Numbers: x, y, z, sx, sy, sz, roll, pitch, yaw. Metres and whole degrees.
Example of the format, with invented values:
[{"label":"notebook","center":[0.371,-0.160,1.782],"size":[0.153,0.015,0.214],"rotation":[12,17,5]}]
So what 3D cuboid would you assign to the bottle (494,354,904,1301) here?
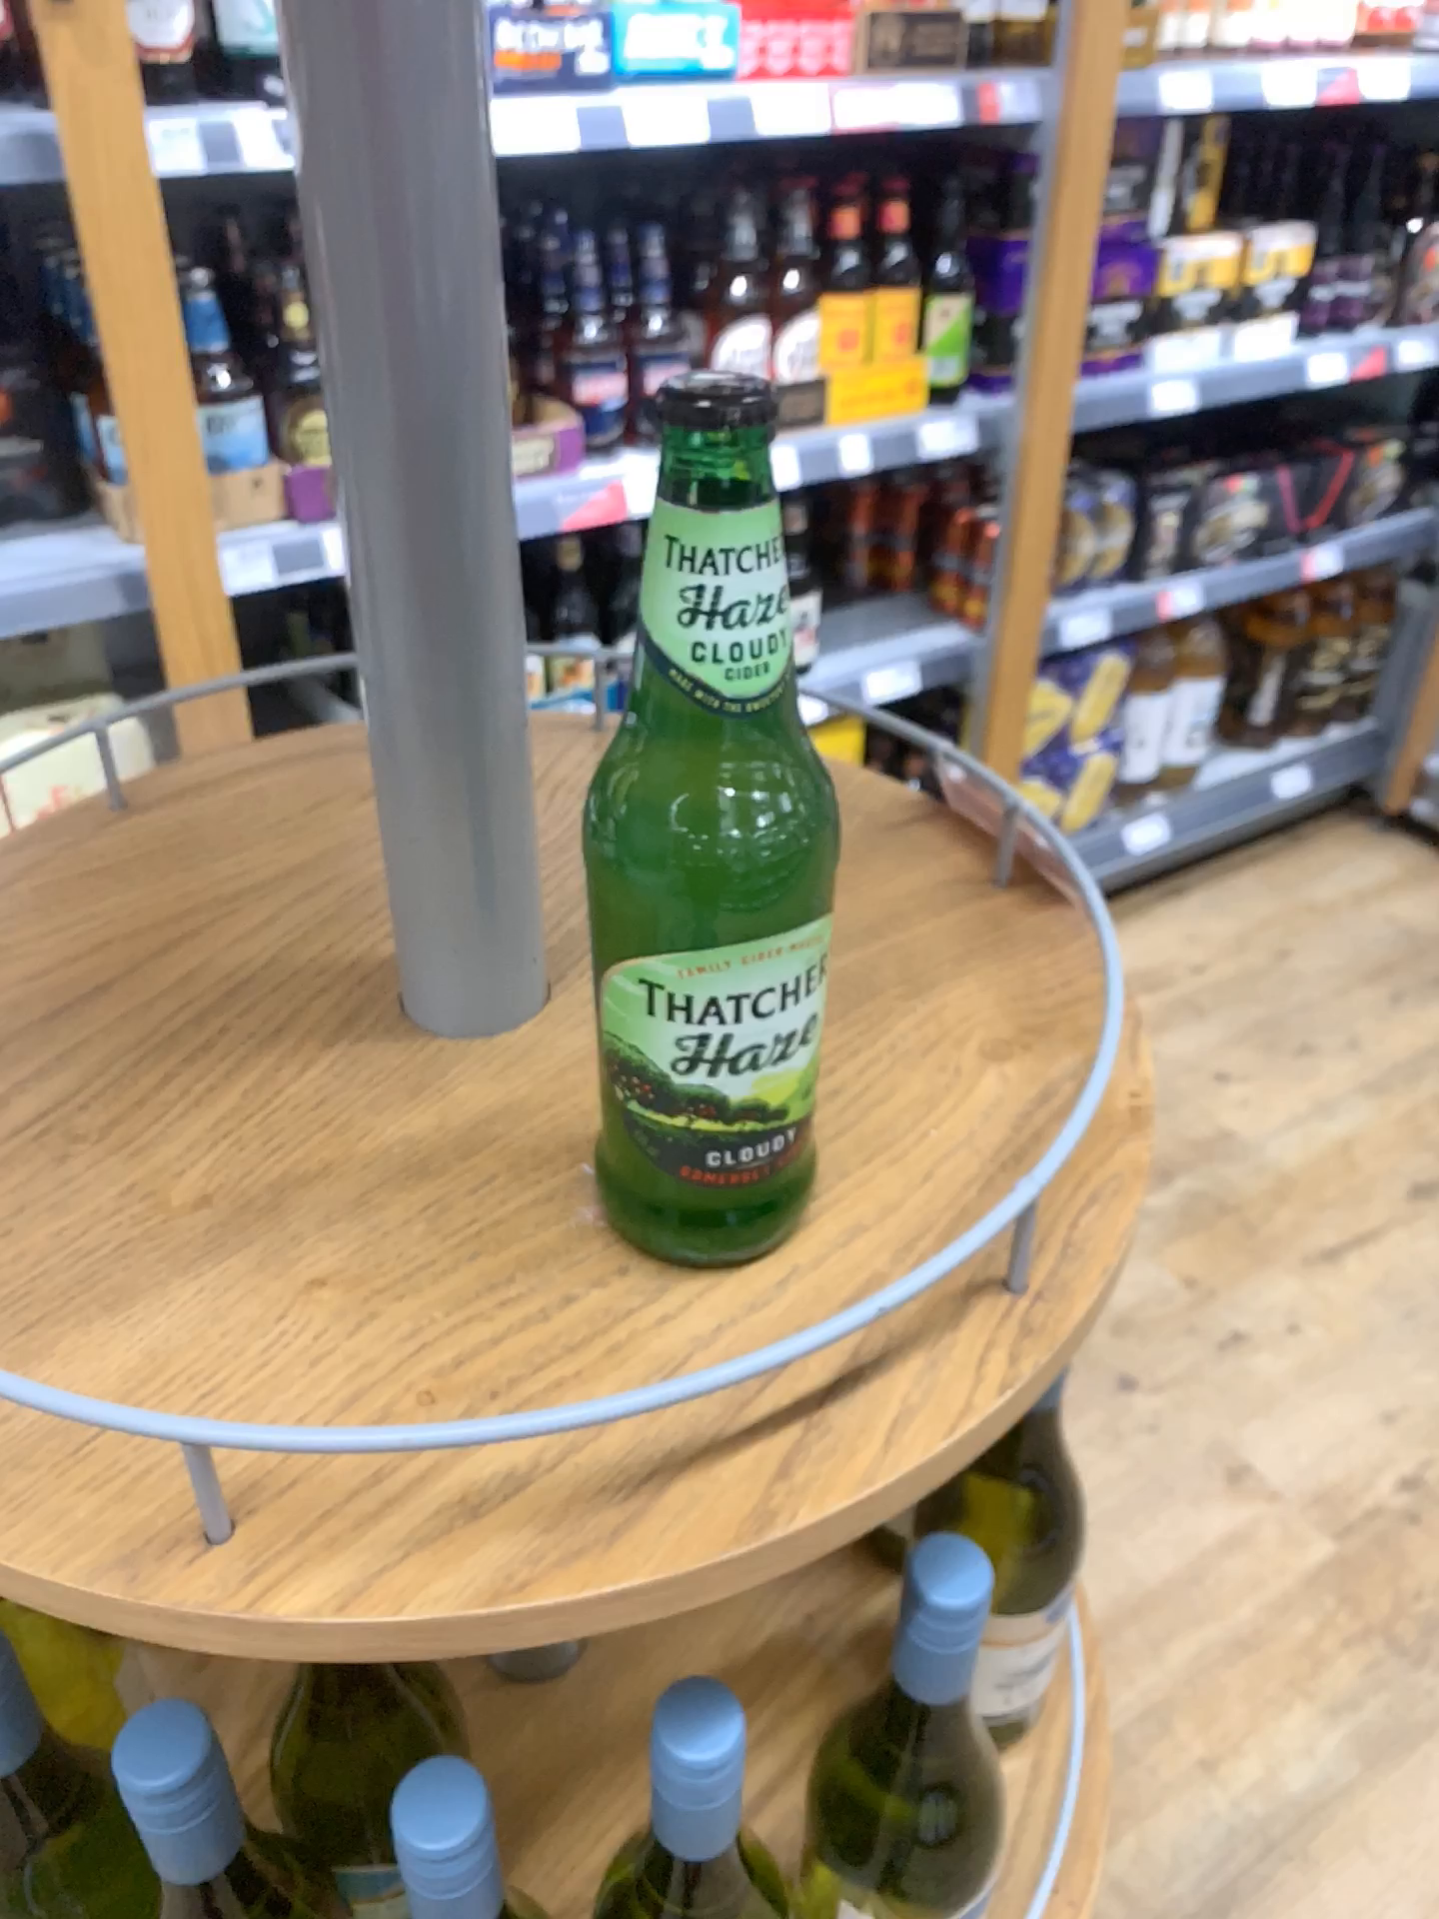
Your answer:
[{"label":"bottle","center":[-0.009,-0.028,0.409],"size":[0.069,0.240,0.079],"rotation":[-12,37,-19]}]
